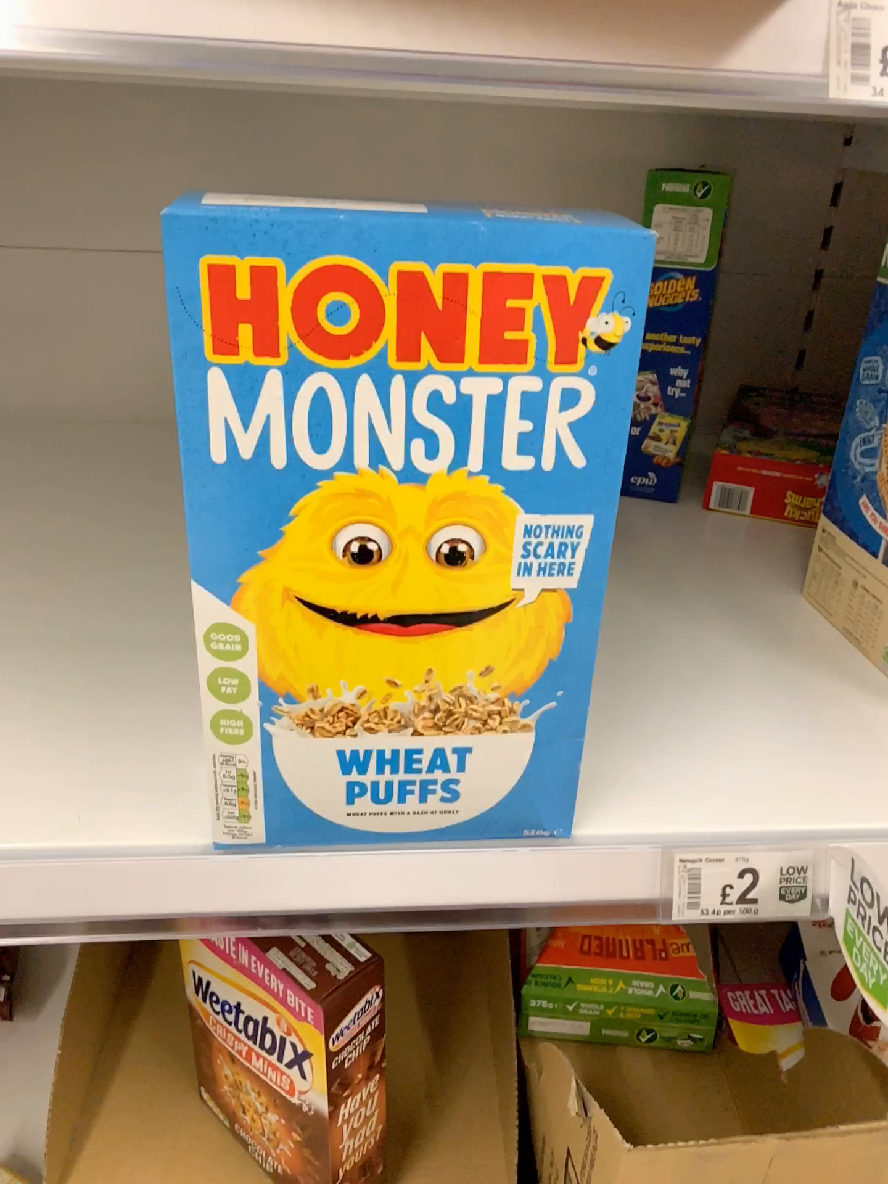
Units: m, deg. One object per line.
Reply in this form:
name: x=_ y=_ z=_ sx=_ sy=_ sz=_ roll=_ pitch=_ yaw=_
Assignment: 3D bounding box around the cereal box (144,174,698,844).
cereal box: x=-0.016 y=-0.029 z=0.434 sx=0.200 sy=0.297 sz=0.091 roll=0 pitch=27 yaw=-6
